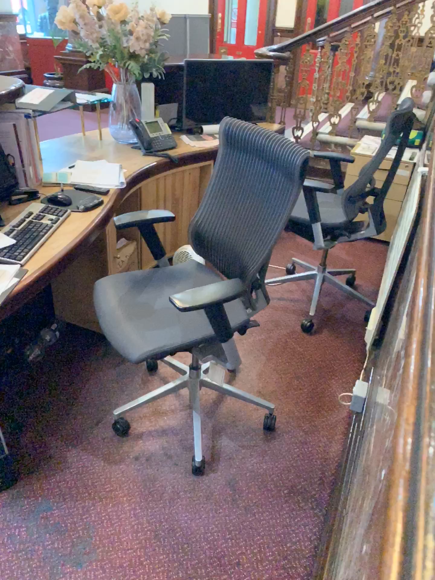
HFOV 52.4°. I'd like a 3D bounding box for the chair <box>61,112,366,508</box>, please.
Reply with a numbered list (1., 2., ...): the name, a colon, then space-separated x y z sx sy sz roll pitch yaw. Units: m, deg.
1. chair: -0.086 0.021 1.639 0.691 1.129 0.726 -12 34 -23
